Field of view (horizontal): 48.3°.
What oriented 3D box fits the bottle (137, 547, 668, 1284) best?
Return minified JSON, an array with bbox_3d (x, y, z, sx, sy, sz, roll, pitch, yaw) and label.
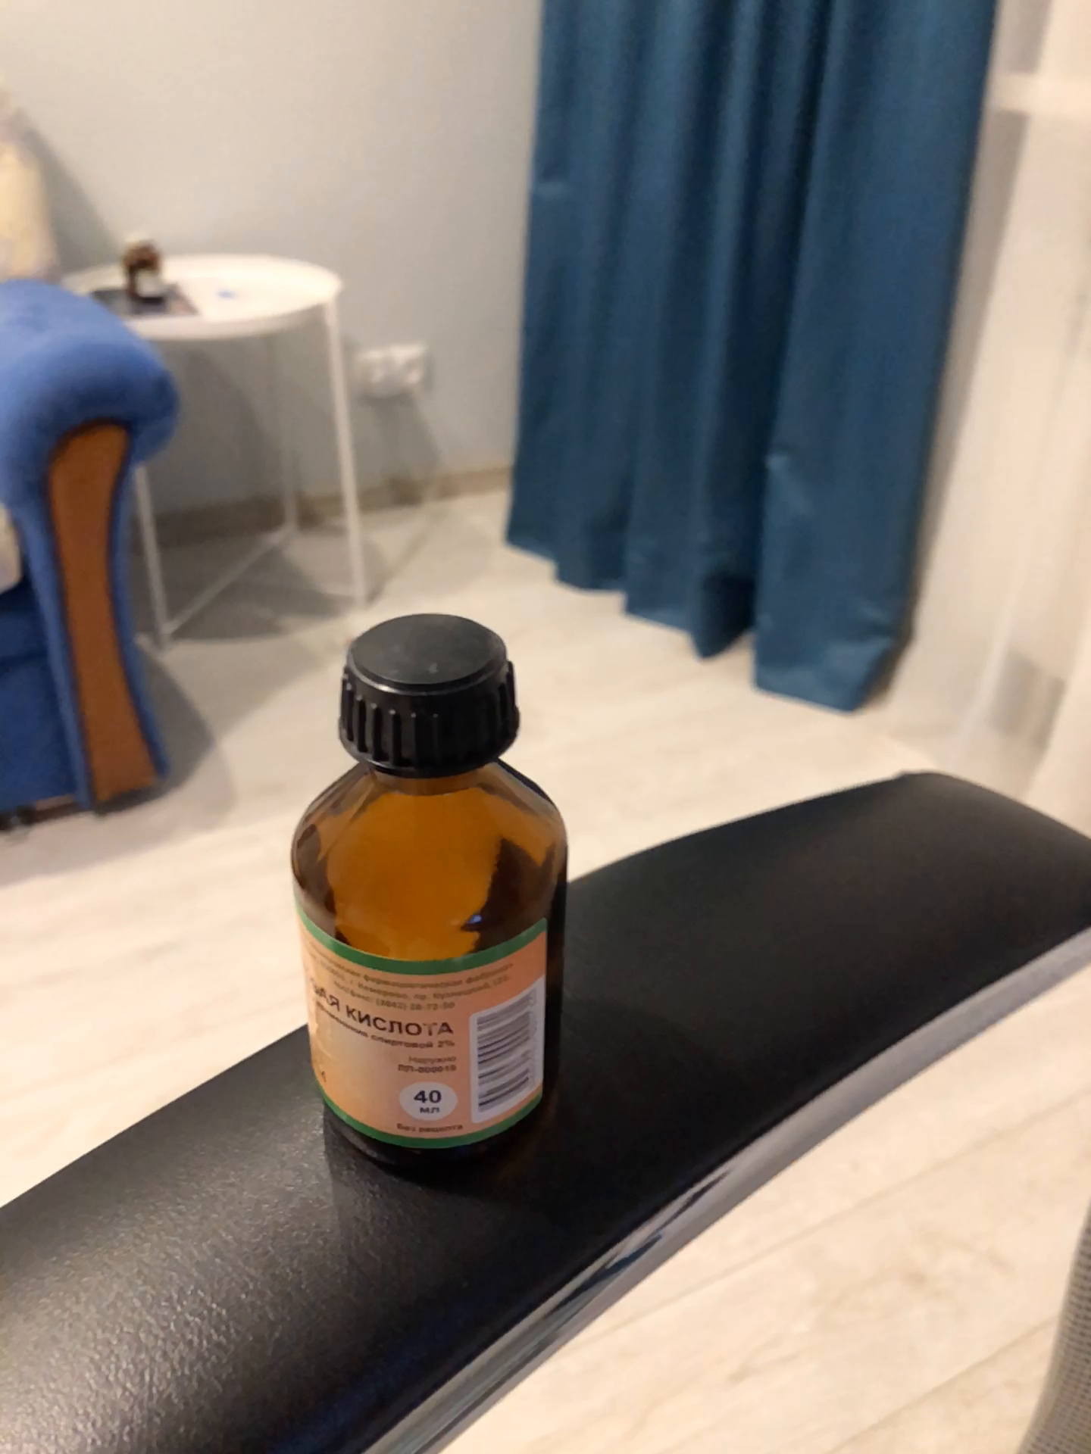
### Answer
[{"bbox_3d":[-0.020,0.025,0.183,0.050,0.083,0.050,1,31,-1],"label":"bottle"}]
